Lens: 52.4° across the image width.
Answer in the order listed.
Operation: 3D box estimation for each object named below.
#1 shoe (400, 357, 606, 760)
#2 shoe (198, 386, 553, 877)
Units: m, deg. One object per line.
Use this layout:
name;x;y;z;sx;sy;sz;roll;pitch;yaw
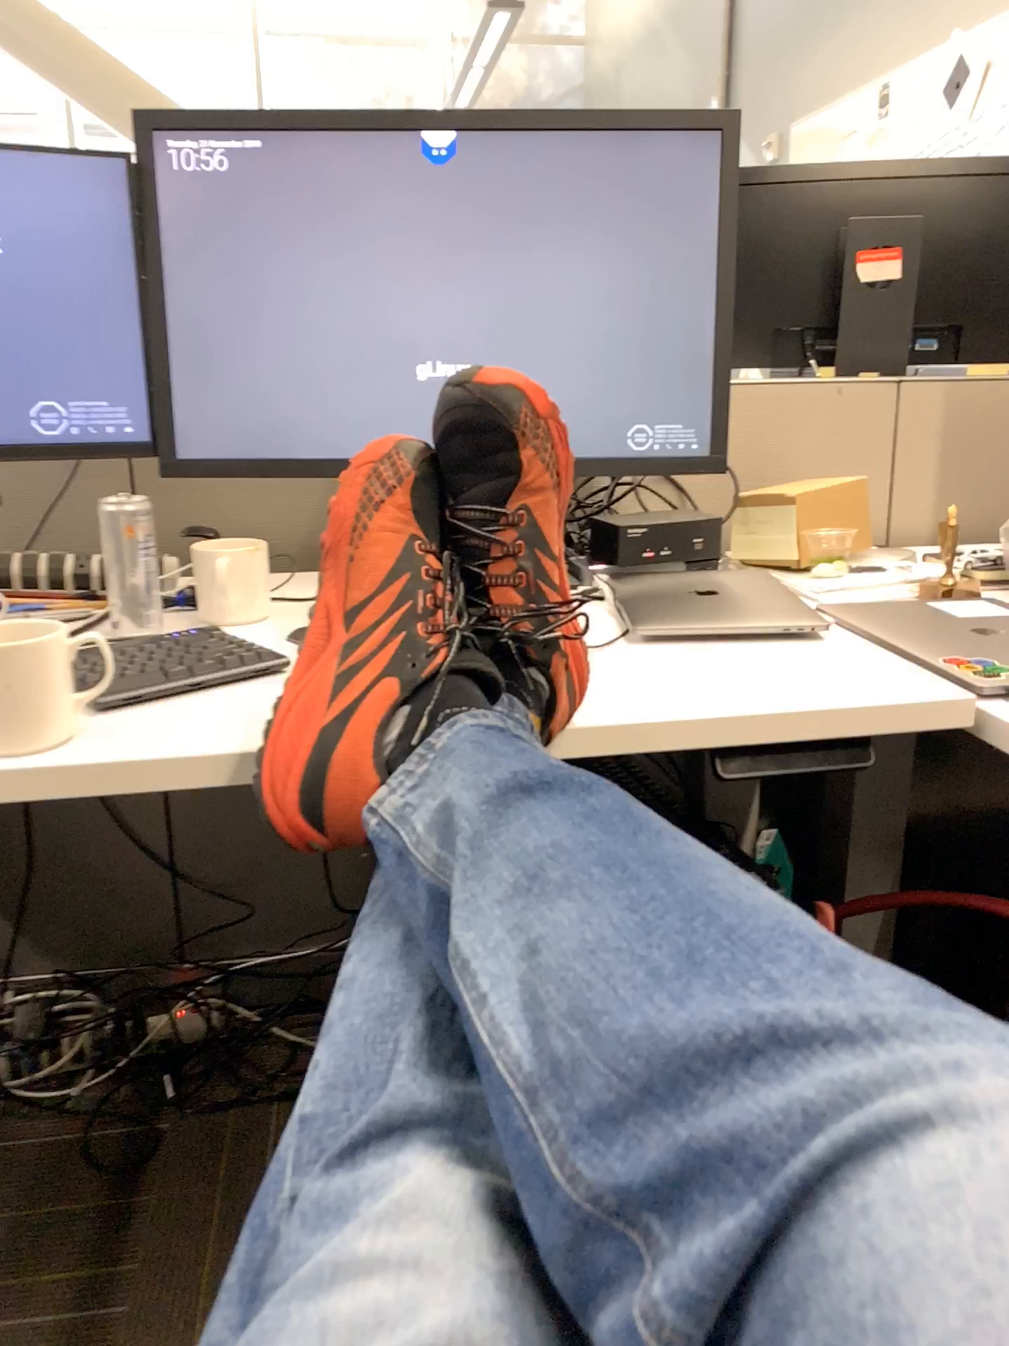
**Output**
shoe;0.005;-0.083;0.746;0.107;0.271;0.083;2;18;22
shoe;-0.074;-0.032;0.658;0.132;0.290;0.091;5;-18;25
